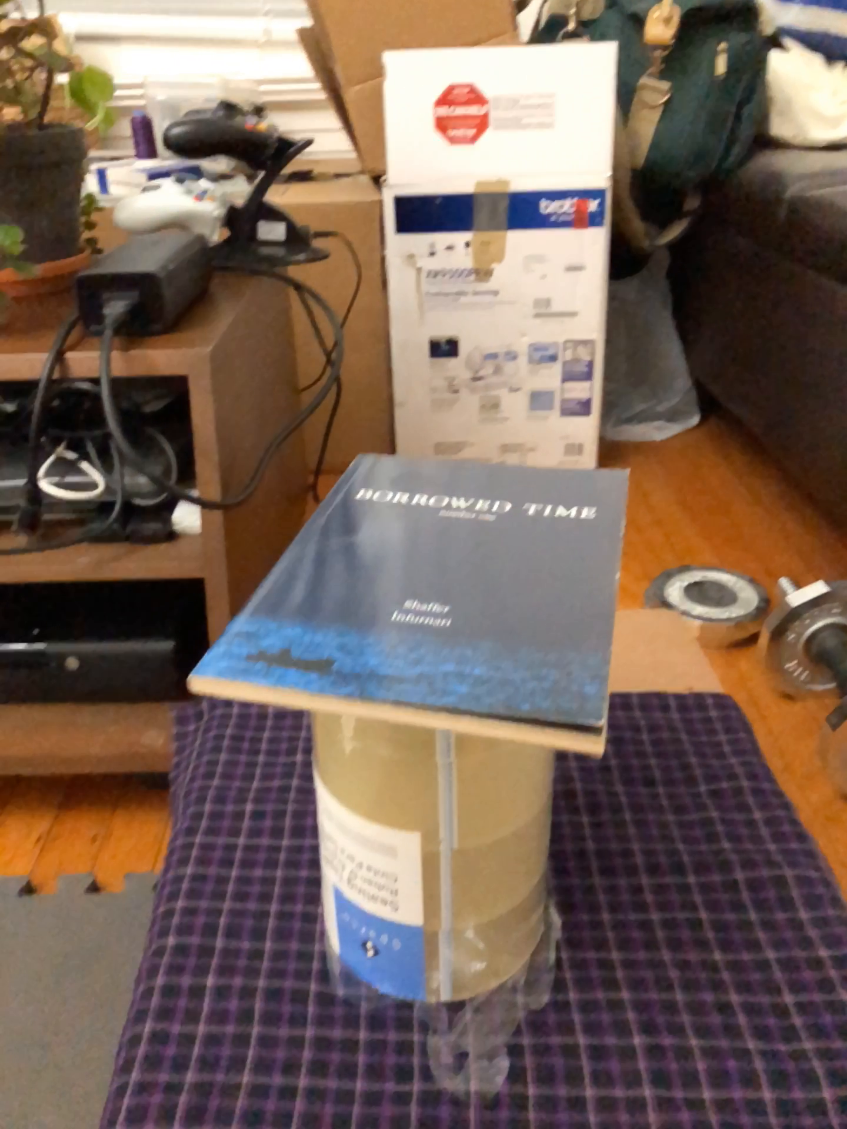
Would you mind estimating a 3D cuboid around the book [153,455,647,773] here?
[{"bbox_3d":[0.012,0.002,0.403,0.160,0.010,0.231,6,27,12],"label":"book"}]
